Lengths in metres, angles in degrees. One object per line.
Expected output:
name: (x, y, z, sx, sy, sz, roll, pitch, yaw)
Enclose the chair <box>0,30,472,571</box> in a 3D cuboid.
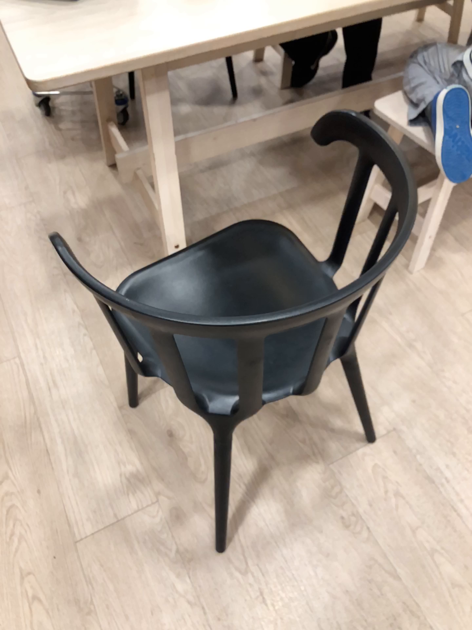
chair: (0.026, 0.000, 0.968, 0.531, 0.686, 0.532, -29, 58, -19)
